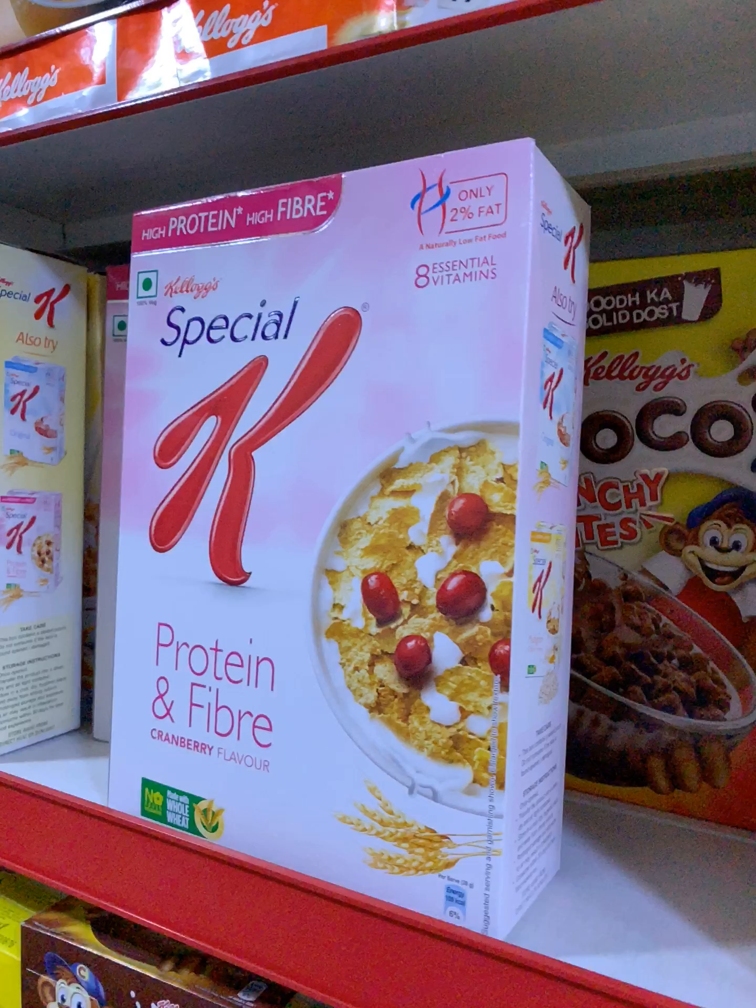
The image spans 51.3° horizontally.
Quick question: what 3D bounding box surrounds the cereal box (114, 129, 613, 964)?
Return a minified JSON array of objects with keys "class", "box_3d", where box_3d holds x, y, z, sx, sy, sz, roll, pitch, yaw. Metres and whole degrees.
[{"class":"cereal box","box_3d":[-0.011,0.008,0.294,0.170,0.240,0.060,3,1,30]}]
